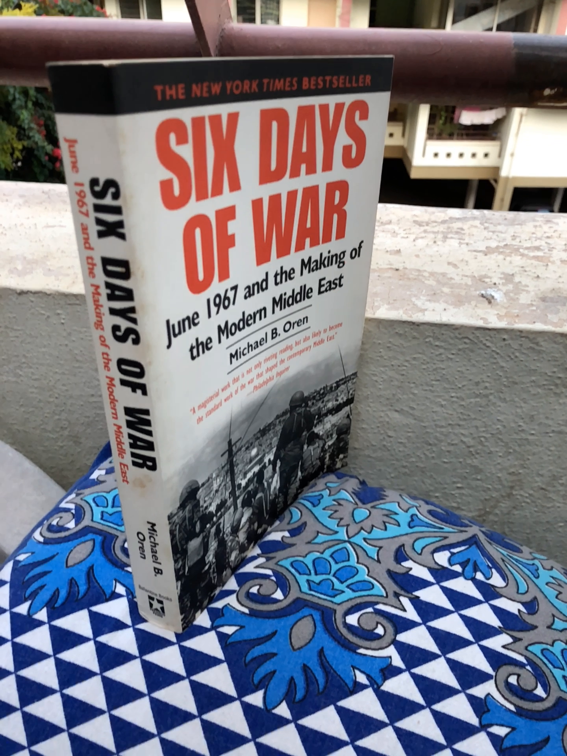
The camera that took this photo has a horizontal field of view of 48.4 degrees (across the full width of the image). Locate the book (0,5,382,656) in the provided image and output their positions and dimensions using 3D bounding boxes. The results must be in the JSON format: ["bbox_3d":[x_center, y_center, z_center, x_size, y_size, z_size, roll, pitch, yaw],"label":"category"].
[{"bbox_3d":[-0.018,-0.027,0.299,0.050,0.249,0.181,16,37,27],"label":"book"}]
